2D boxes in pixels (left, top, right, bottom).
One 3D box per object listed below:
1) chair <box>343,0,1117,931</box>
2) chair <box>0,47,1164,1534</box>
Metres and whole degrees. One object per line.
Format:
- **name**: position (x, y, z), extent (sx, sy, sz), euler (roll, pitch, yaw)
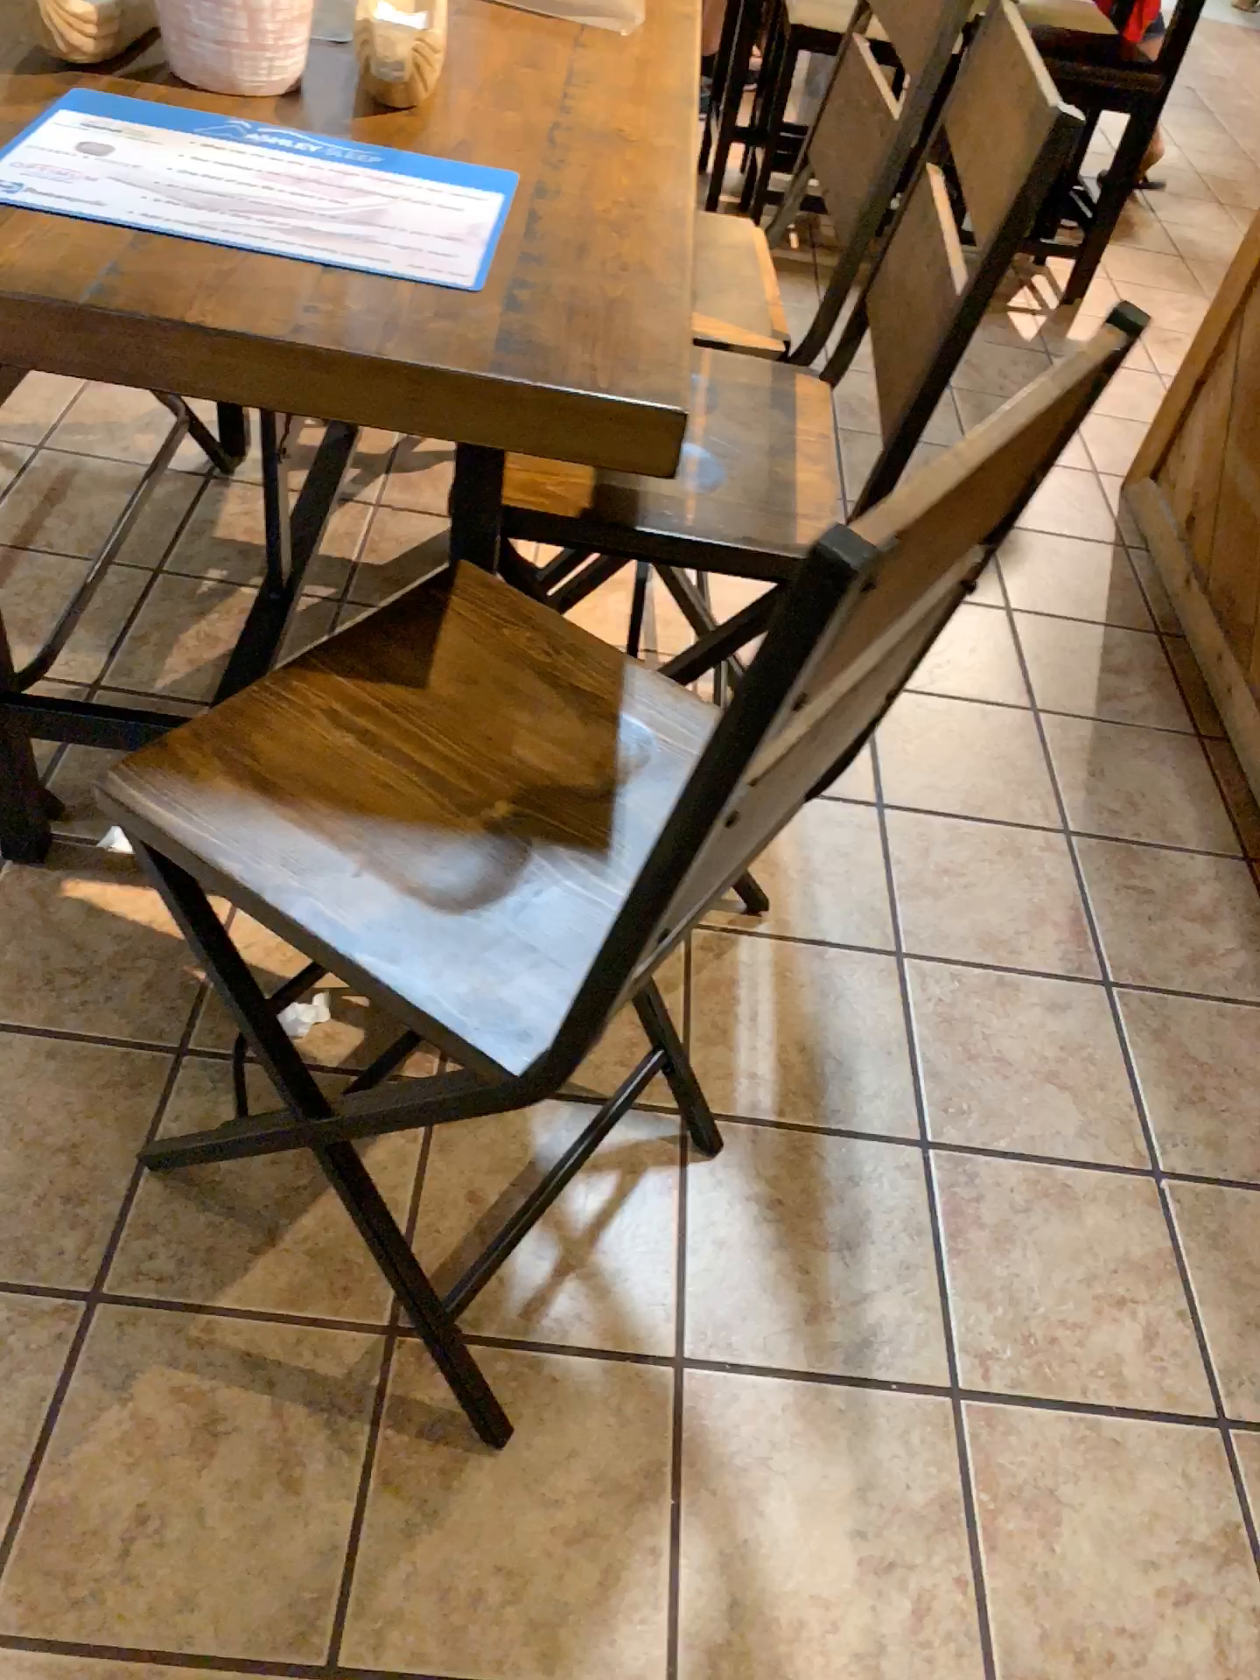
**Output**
- **chair**: position (0.036, -0.436, 1.543), extent (0.615, 1.003, 0.495), euler (7, 46, -3)
- **chair**: position (-0.120, 0.002, 1.070), extent (0.616, 0.983, 0.444), euler (30, 46, 21)
